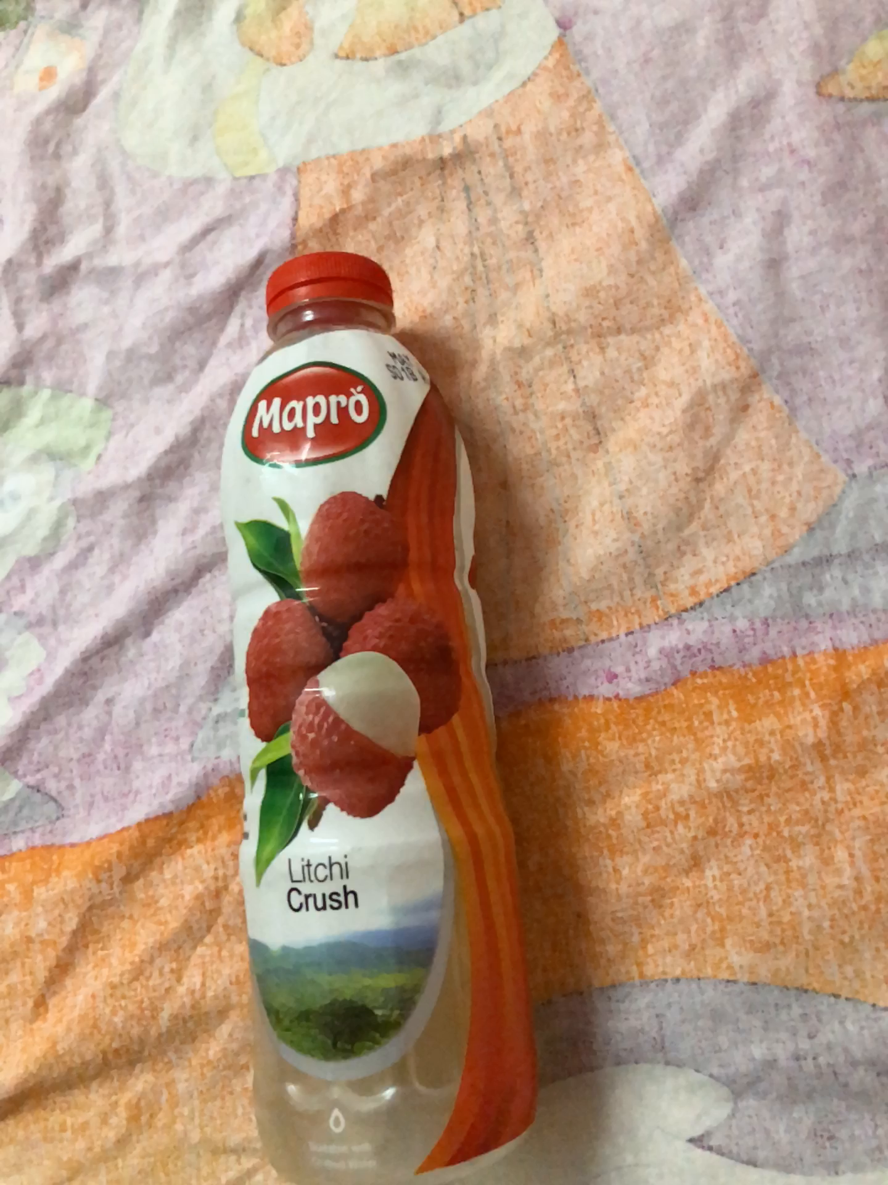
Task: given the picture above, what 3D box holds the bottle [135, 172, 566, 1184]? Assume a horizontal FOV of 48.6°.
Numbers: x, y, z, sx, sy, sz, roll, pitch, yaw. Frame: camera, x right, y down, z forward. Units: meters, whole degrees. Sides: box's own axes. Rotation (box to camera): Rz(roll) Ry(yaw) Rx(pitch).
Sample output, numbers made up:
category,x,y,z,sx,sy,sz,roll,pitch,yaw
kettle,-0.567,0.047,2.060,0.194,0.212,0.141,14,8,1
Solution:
category,x,y,z,sx,sy,sz,roll,pitch,yaw
bottle,-0.027,0.028,0.280,0.080,0.070,0.260,-9,80,18
